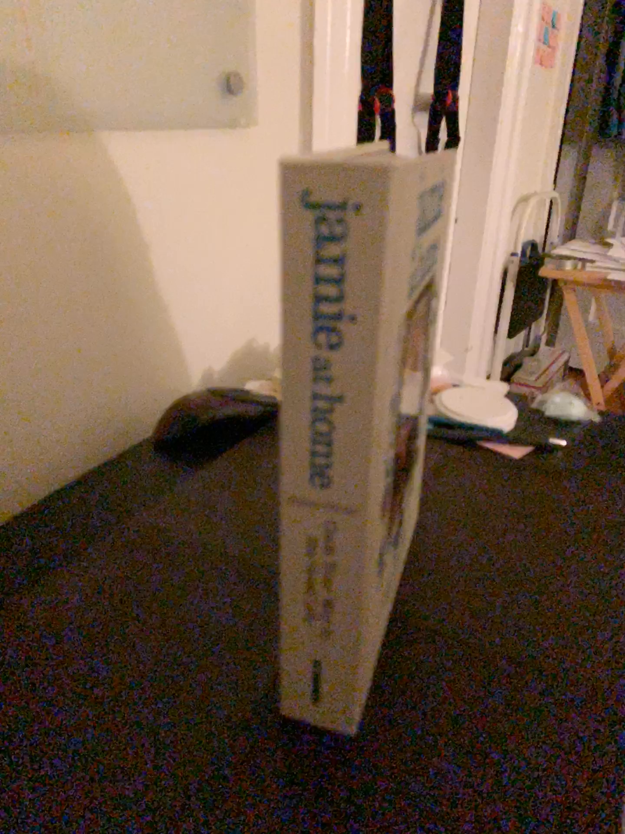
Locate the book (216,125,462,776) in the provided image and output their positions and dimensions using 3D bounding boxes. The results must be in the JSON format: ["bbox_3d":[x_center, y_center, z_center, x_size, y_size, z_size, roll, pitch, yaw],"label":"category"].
[{"bbox_3d":[0.025,-0.004,0.332,0.050,0.268,0.211,9,26,16],"label":"book"}]
